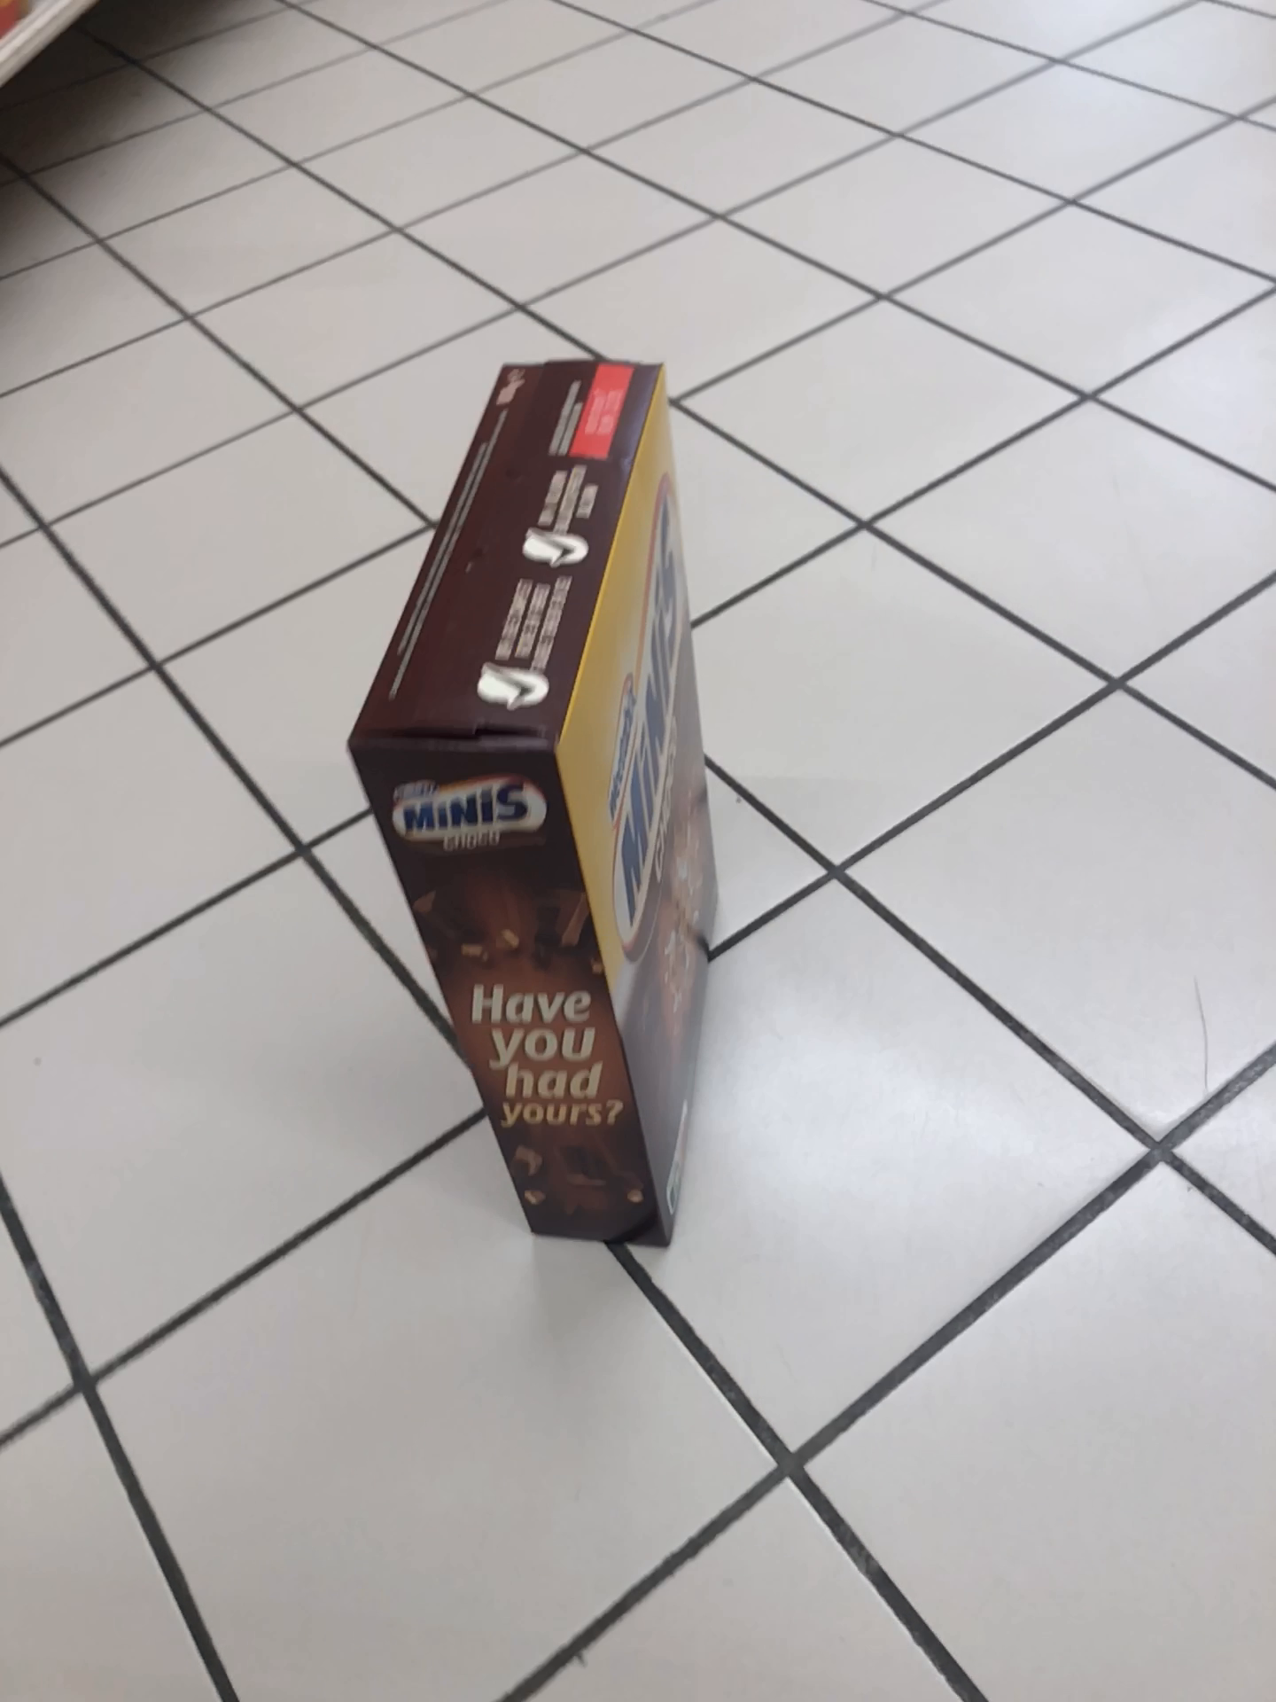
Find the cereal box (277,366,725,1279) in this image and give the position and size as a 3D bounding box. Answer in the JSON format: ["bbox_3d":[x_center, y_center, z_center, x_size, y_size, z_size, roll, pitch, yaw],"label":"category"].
[{"bbox_3d":[-0.026,0.001,0.536,0.080,0.288,0.201,2,49,10],"label":"cereal box"}]
